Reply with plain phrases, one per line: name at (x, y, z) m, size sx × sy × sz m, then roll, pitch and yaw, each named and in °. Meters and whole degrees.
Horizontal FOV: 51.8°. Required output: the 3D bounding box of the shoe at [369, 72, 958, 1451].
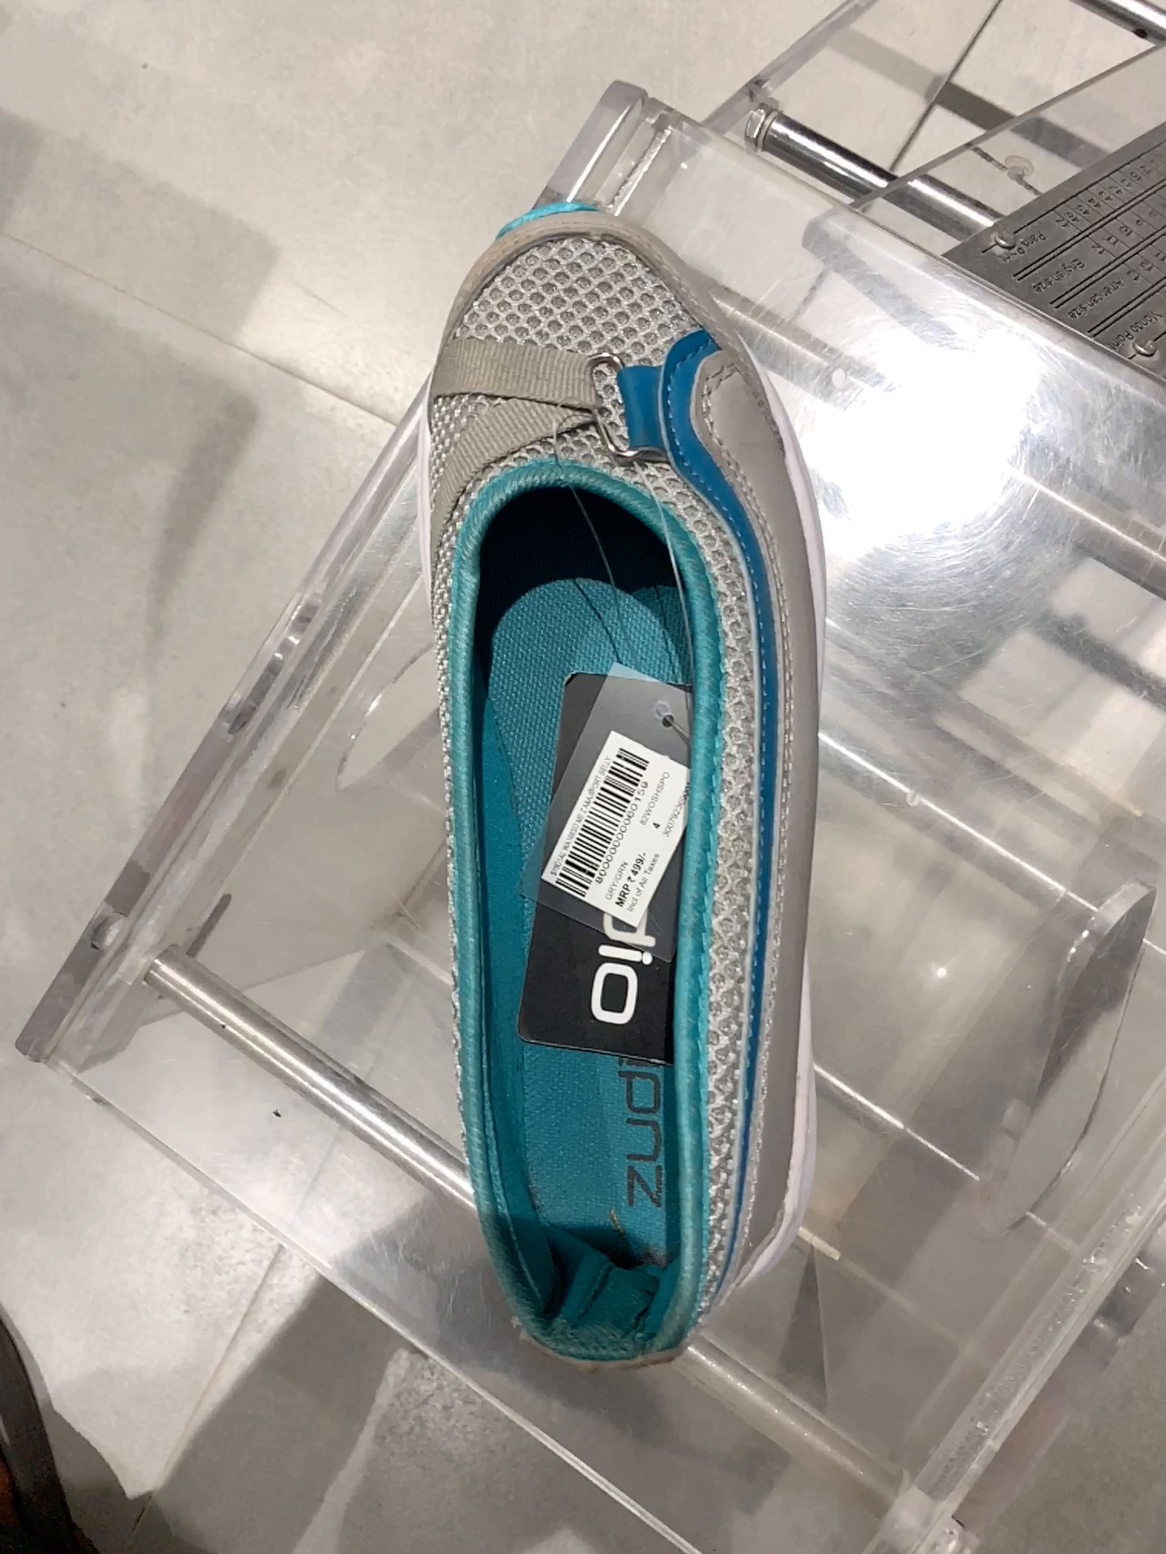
shoe at (0.020, -0.001, 0.282) m, size 0.090 × 0.080 × 0.270 m, roll -6°, pitch 89°, yaw 8°
